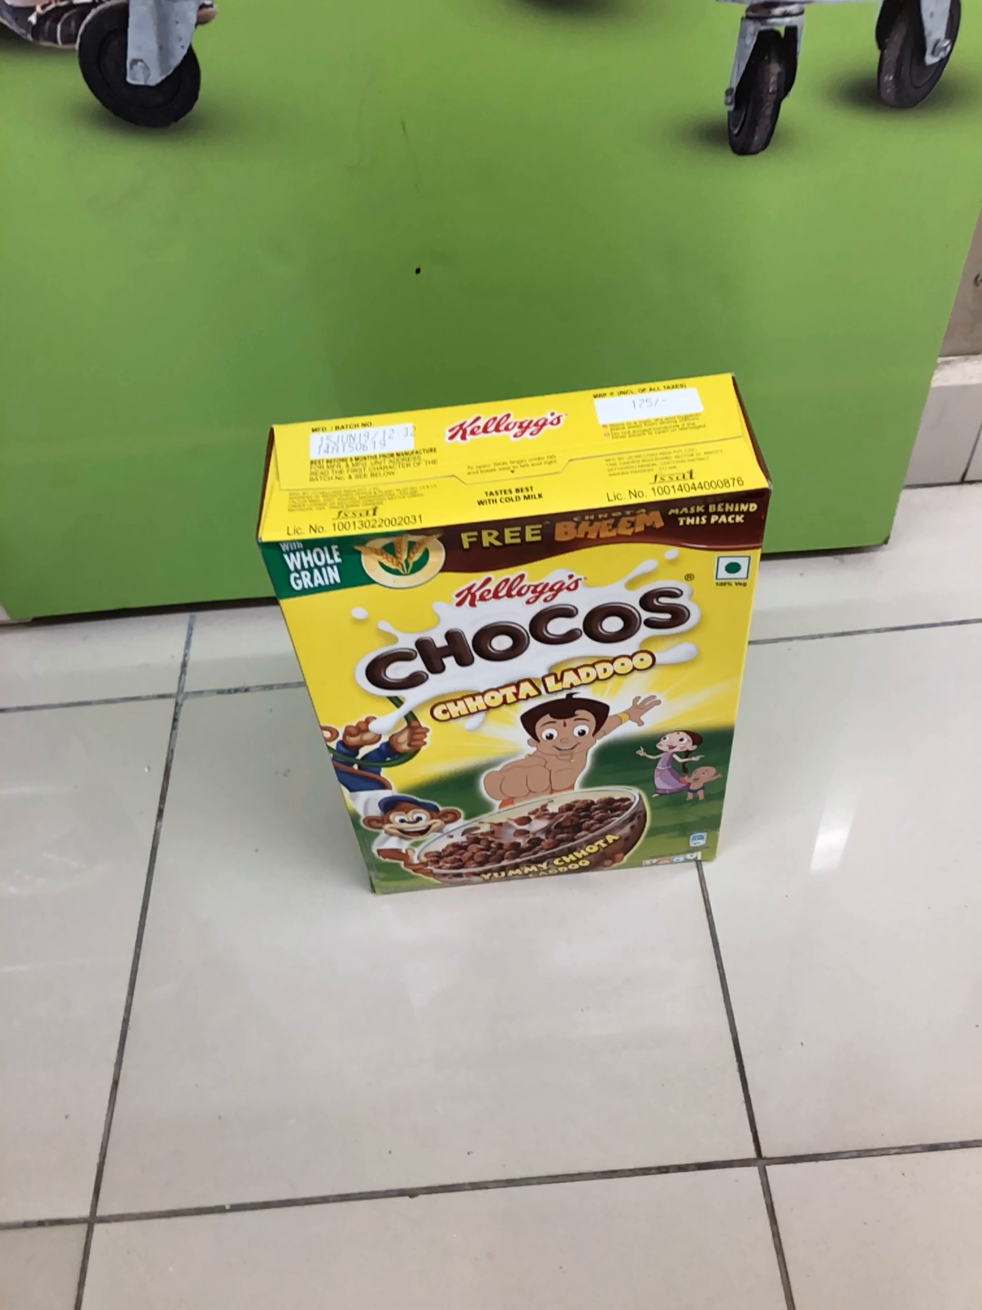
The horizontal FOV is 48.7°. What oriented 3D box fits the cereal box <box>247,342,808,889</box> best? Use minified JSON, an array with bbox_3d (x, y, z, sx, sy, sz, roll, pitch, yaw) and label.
[{"bbox_3d":[0.019,0.001,0.486,0.190,0.258,0.070,-6,49,0],"label":"cereal box"}]
